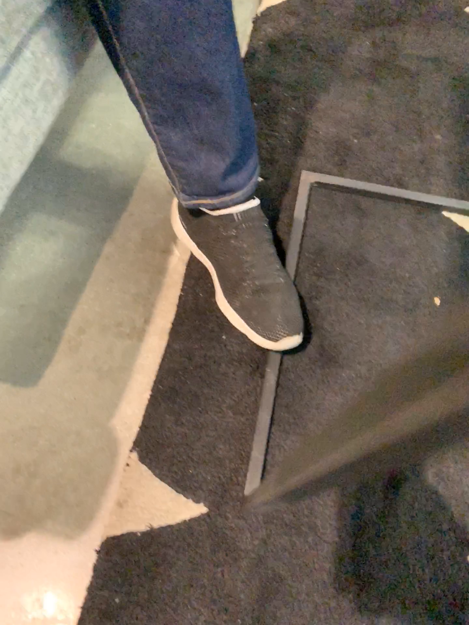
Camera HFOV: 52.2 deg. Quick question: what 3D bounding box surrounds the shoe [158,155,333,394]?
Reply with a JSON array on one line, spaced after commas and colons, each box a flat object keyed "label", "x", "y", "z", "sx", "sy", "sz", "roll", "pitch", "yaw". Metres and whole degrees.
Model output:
[{"label": "shoe", "x": 0.004, "y": -0.060, "z": 0.642, "sx": 0.116, "sy": 0.074, "sz": 0.304, "roll": -19, "pitch": 67, "yaw": -12}]
